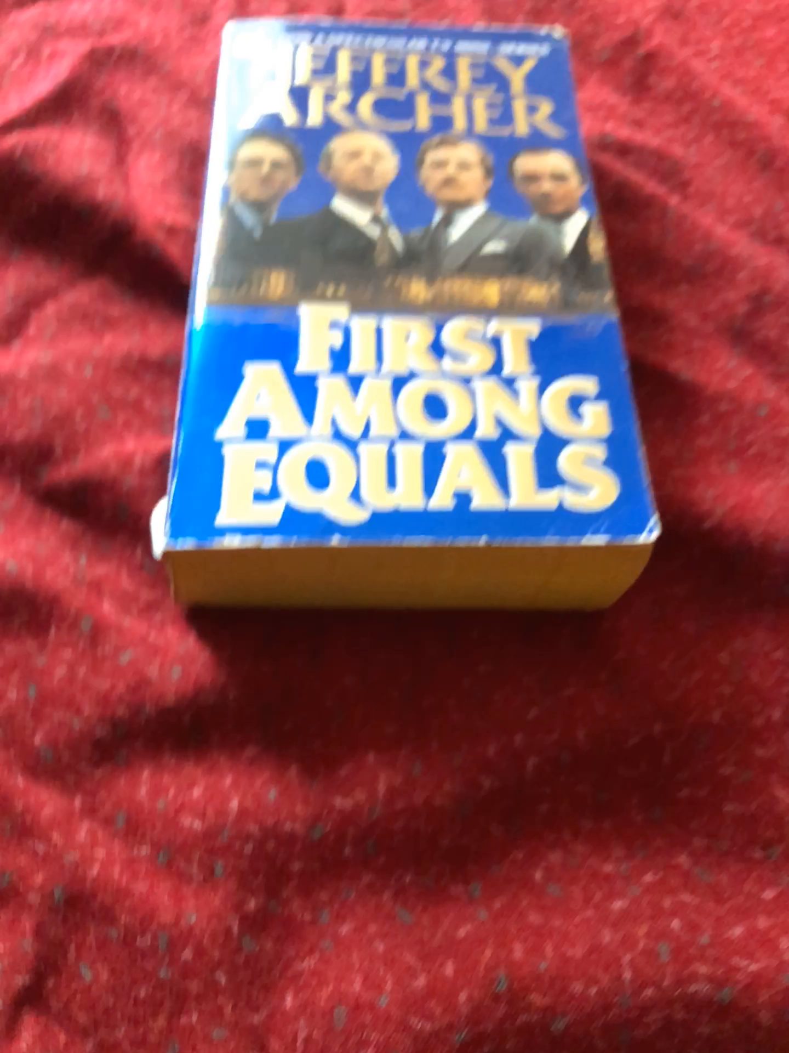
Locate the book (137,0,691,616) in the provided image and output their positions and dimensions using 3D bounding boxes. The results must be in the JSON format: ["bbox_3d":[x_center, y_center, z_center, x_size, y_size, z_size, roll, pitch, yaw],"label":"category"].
[{"bbox_3d":[0.002,-0.066,0.236,0.110,0.038,0.177,1,62,-4],"label":"book"}]
